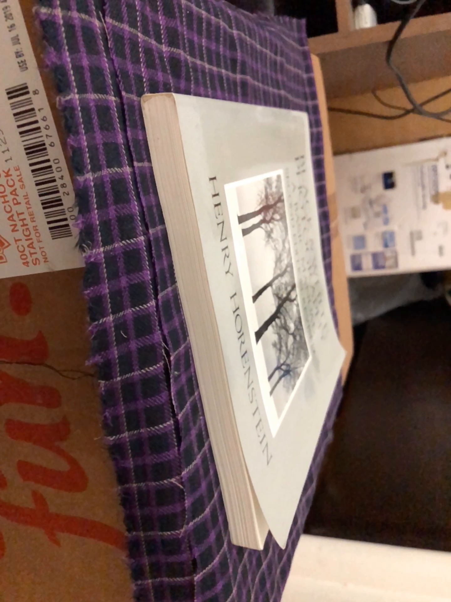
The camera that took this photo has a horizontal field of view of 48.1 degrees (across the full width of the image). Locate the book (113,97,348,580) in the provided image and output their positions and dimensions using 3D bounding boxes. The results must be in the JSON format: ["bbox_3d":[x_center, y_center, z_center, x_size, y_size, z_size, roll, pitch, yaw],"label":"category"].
[{"bbox_3d":[0.034,-0.009,0.322,0.251,0.030,0.210,-40,123,-62],"label":"book"}]
